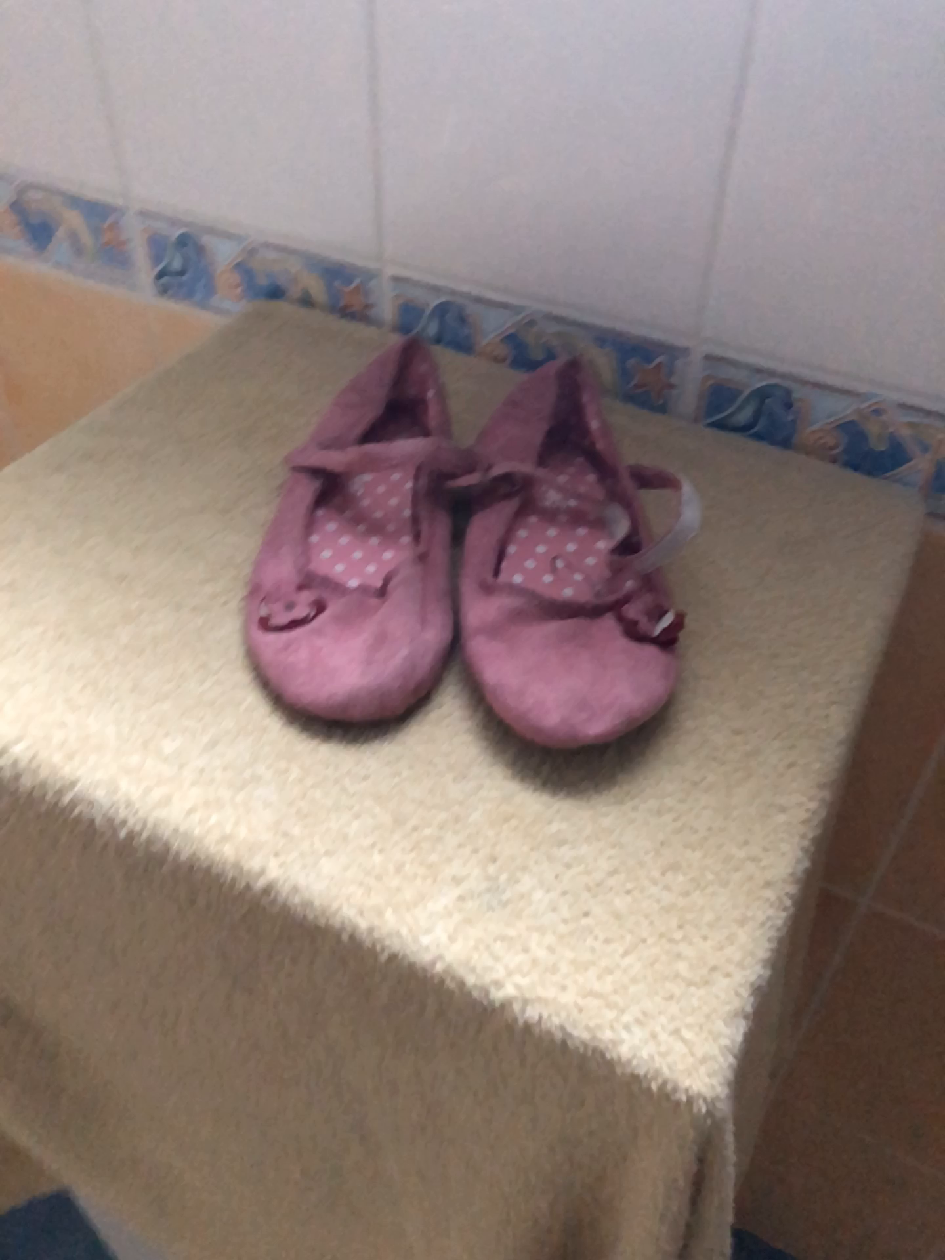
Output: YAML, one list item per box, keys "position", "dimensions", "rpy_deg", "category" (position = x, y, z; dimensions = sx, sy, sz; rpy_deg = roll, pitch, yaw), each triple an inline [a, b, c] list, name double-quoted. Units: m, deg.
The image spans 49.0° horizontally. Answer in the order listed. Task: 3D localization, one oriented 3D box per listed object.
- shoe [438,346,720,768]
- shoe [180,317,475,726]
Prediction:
- position: [0.040, -0.048, 0.473]
  dimensions: [0.100, 0.050, 0.241]
  rpy_deg: [2, 42, 0]
  category: "shoe"
- position: [-0.052, -0.064, 0.476]
  dimensions: [0.100, 0.050, 0.241]
  rpy_deg: [2, 42, 0]
  category: "shoe"
